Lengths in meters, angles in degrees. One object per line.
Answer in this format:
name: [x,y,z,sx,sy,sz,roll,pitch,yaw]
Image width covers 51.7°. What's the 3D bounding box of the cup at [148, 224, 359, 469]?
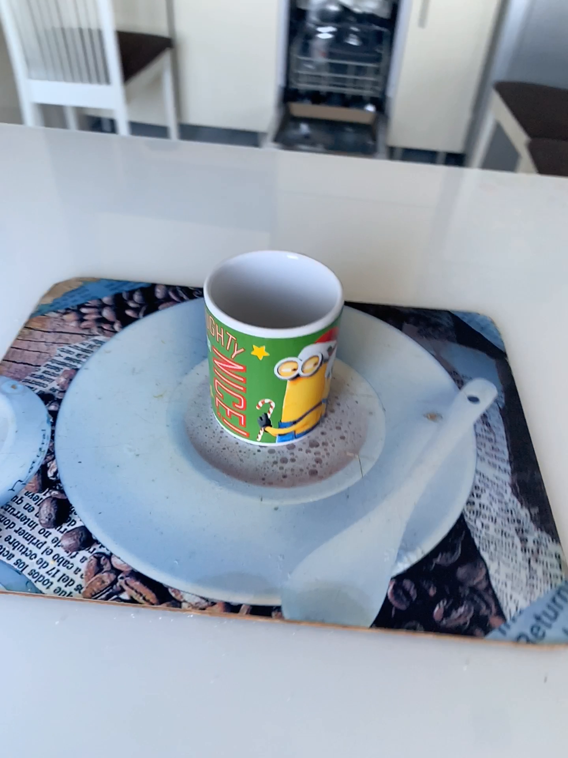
cup: [-0.014,-0.027,0.386,0.094,0.077,0.134,13,45,9]
